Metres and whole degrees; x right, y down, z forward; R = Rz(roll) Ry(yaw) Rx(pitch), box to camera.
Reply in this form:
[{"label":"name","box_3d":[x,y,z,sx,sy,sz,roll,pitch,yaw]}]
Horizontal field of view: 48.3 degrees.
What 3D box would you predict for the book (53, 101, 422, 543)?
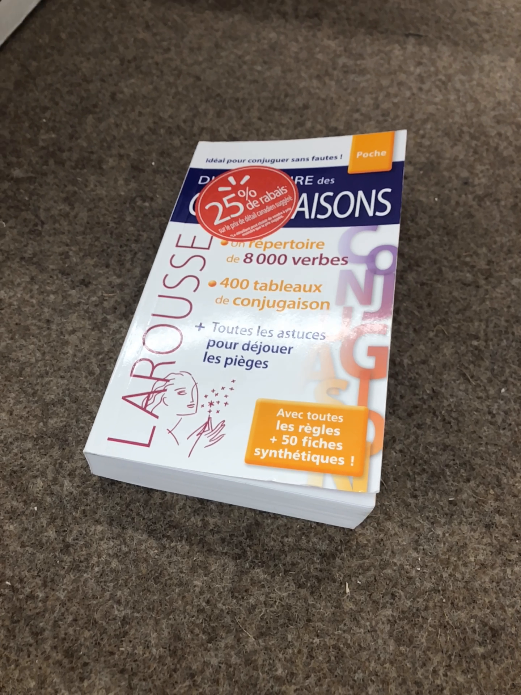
[{"label":"book","box_3d":[0.005,-0.025,0.282,0.124,0.059,0.200,9,59,6]}]
